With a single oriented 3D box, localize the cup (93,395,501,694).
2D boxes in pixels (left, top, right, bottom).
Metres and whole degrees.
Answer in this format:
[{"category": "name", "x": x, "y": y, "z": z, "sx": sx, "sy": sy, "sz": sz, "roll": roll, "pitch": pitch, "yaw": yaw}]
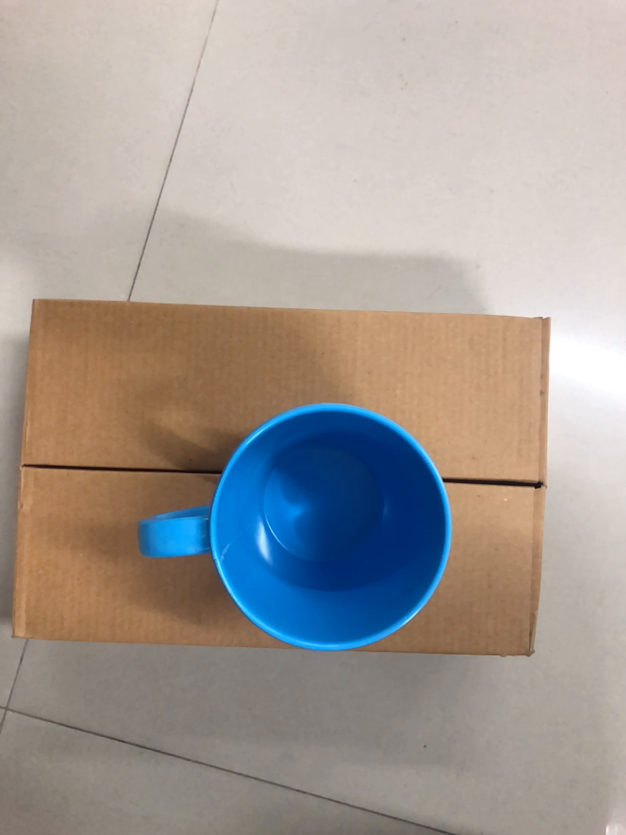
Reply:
[{"category": "cup", "x": -0.006, "y": 0.041, "z": 0.264, "sx": 0.120, "sy": 0.090, "sz": 0.080, "roll": -7, "pitch": 88, "yaw": -1}]
